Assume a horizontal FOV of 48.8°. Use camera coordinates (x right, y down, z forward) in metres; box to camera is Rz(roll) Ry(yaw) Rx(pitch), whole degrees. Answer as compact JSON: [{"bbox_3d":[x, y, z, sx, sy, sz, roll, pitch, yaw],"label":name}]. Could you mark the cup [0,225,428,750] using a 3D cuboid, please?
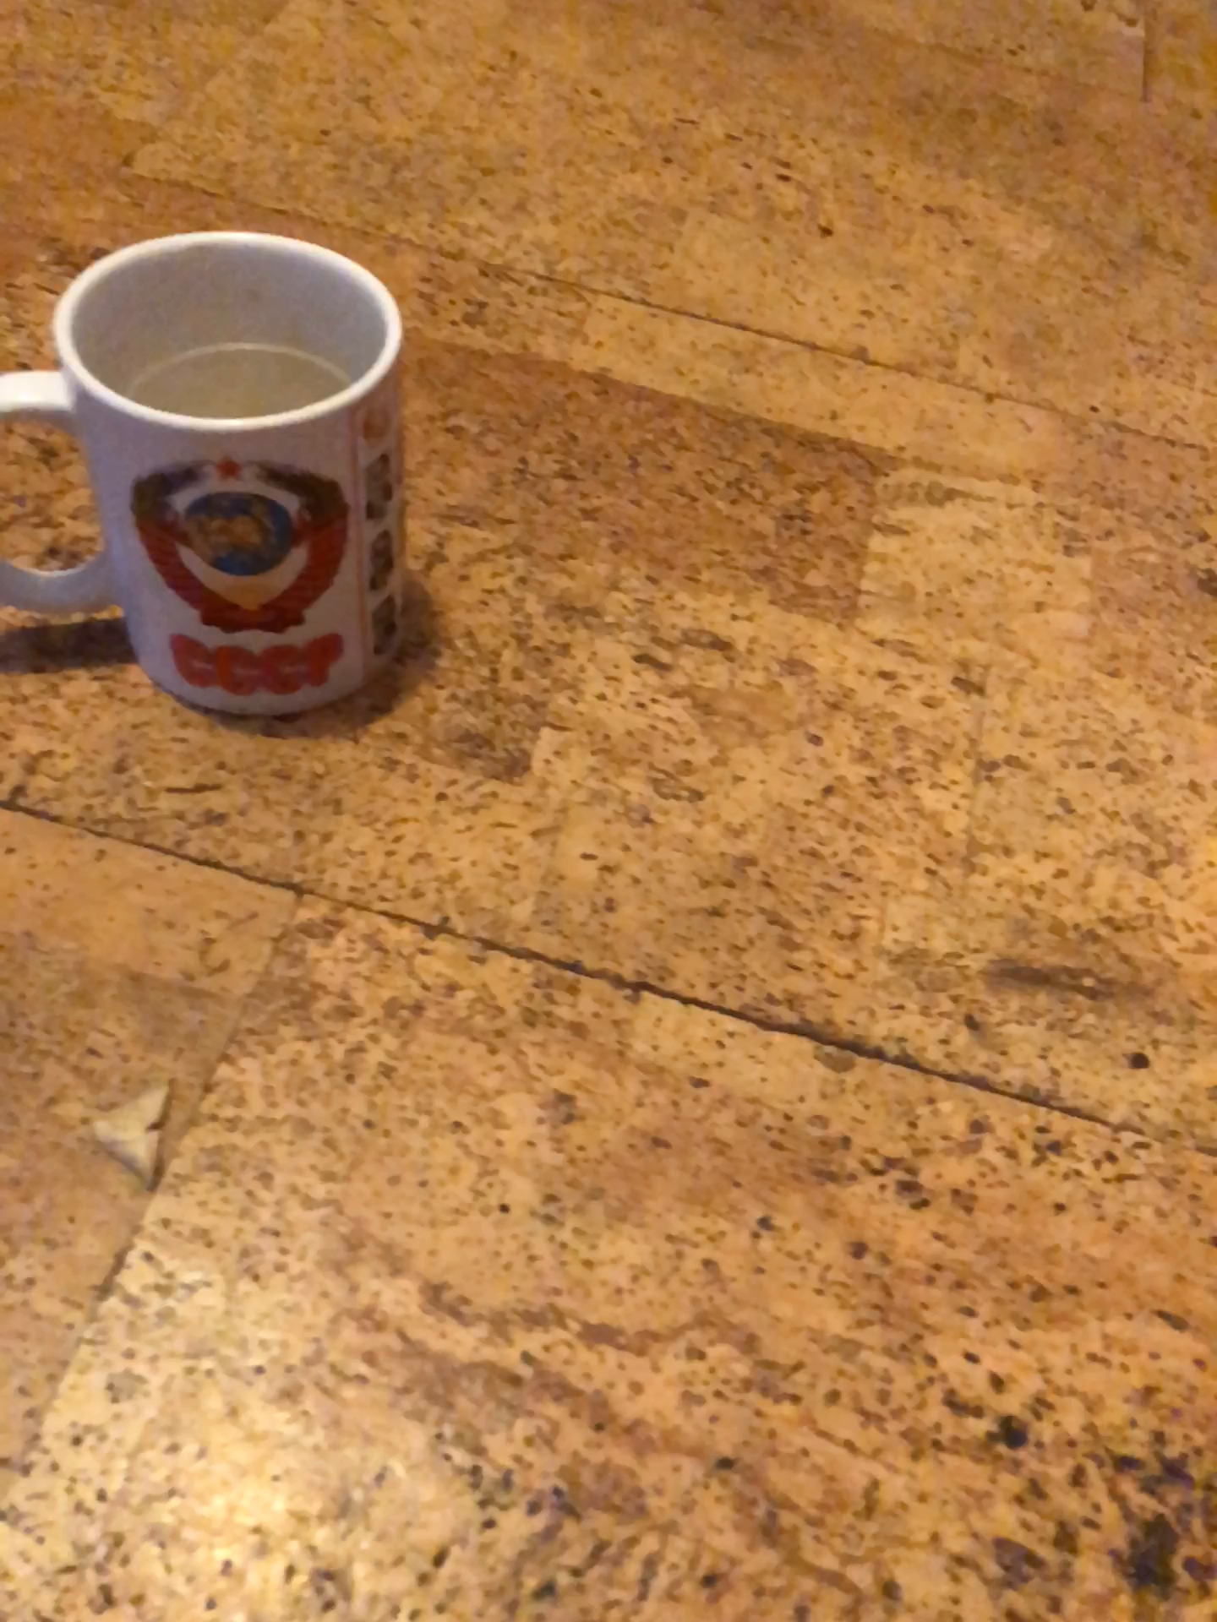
[{"bbox_3d":[-0.111,-0.084,0.351,0.119,0.099,0.083,-5,53,-11],"label":"cup"}]
